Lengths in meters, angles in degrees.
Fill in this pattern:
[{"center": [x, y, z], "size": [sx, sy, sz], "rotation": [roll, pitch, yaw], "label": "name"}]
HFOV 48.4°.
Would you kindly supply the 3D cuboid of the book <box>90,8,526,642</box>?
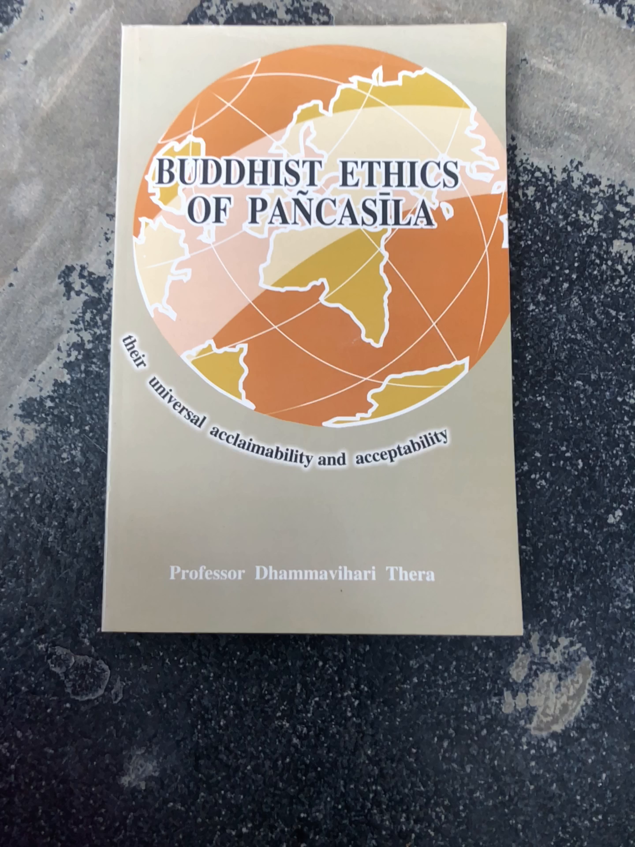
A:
[{"center": [-0.004, -0.039, 0.246], "size": [0.140, 0.010, 0.220], "rotation": [0, 83, -1], "label": "book"}]
